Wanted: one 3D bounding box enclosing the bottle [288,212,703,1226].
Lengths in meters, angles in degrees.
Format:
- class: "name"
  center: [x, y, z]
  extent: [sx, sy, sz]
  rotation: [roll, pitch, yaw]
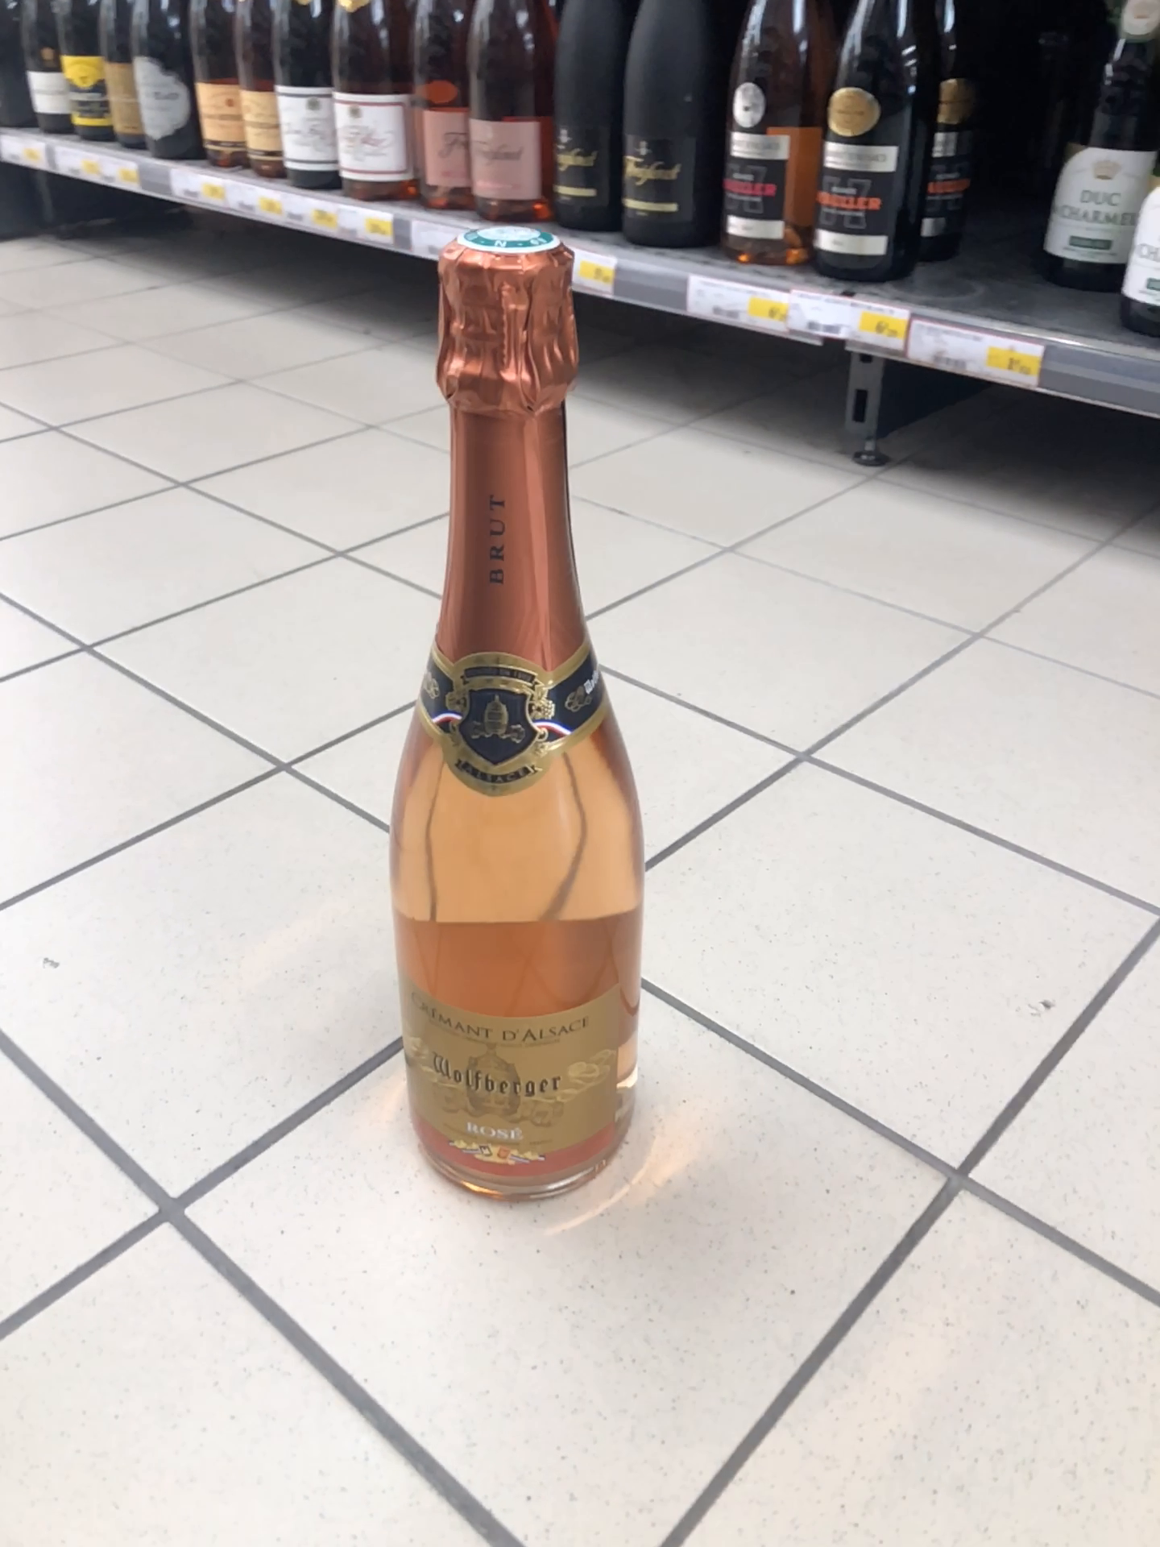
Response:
- class: "bottle"
  center: [-0.017, -0.002, 0.401]
  extent: [0.090, 0.308, 0.091]
  rotation: [0, 32, 0]
